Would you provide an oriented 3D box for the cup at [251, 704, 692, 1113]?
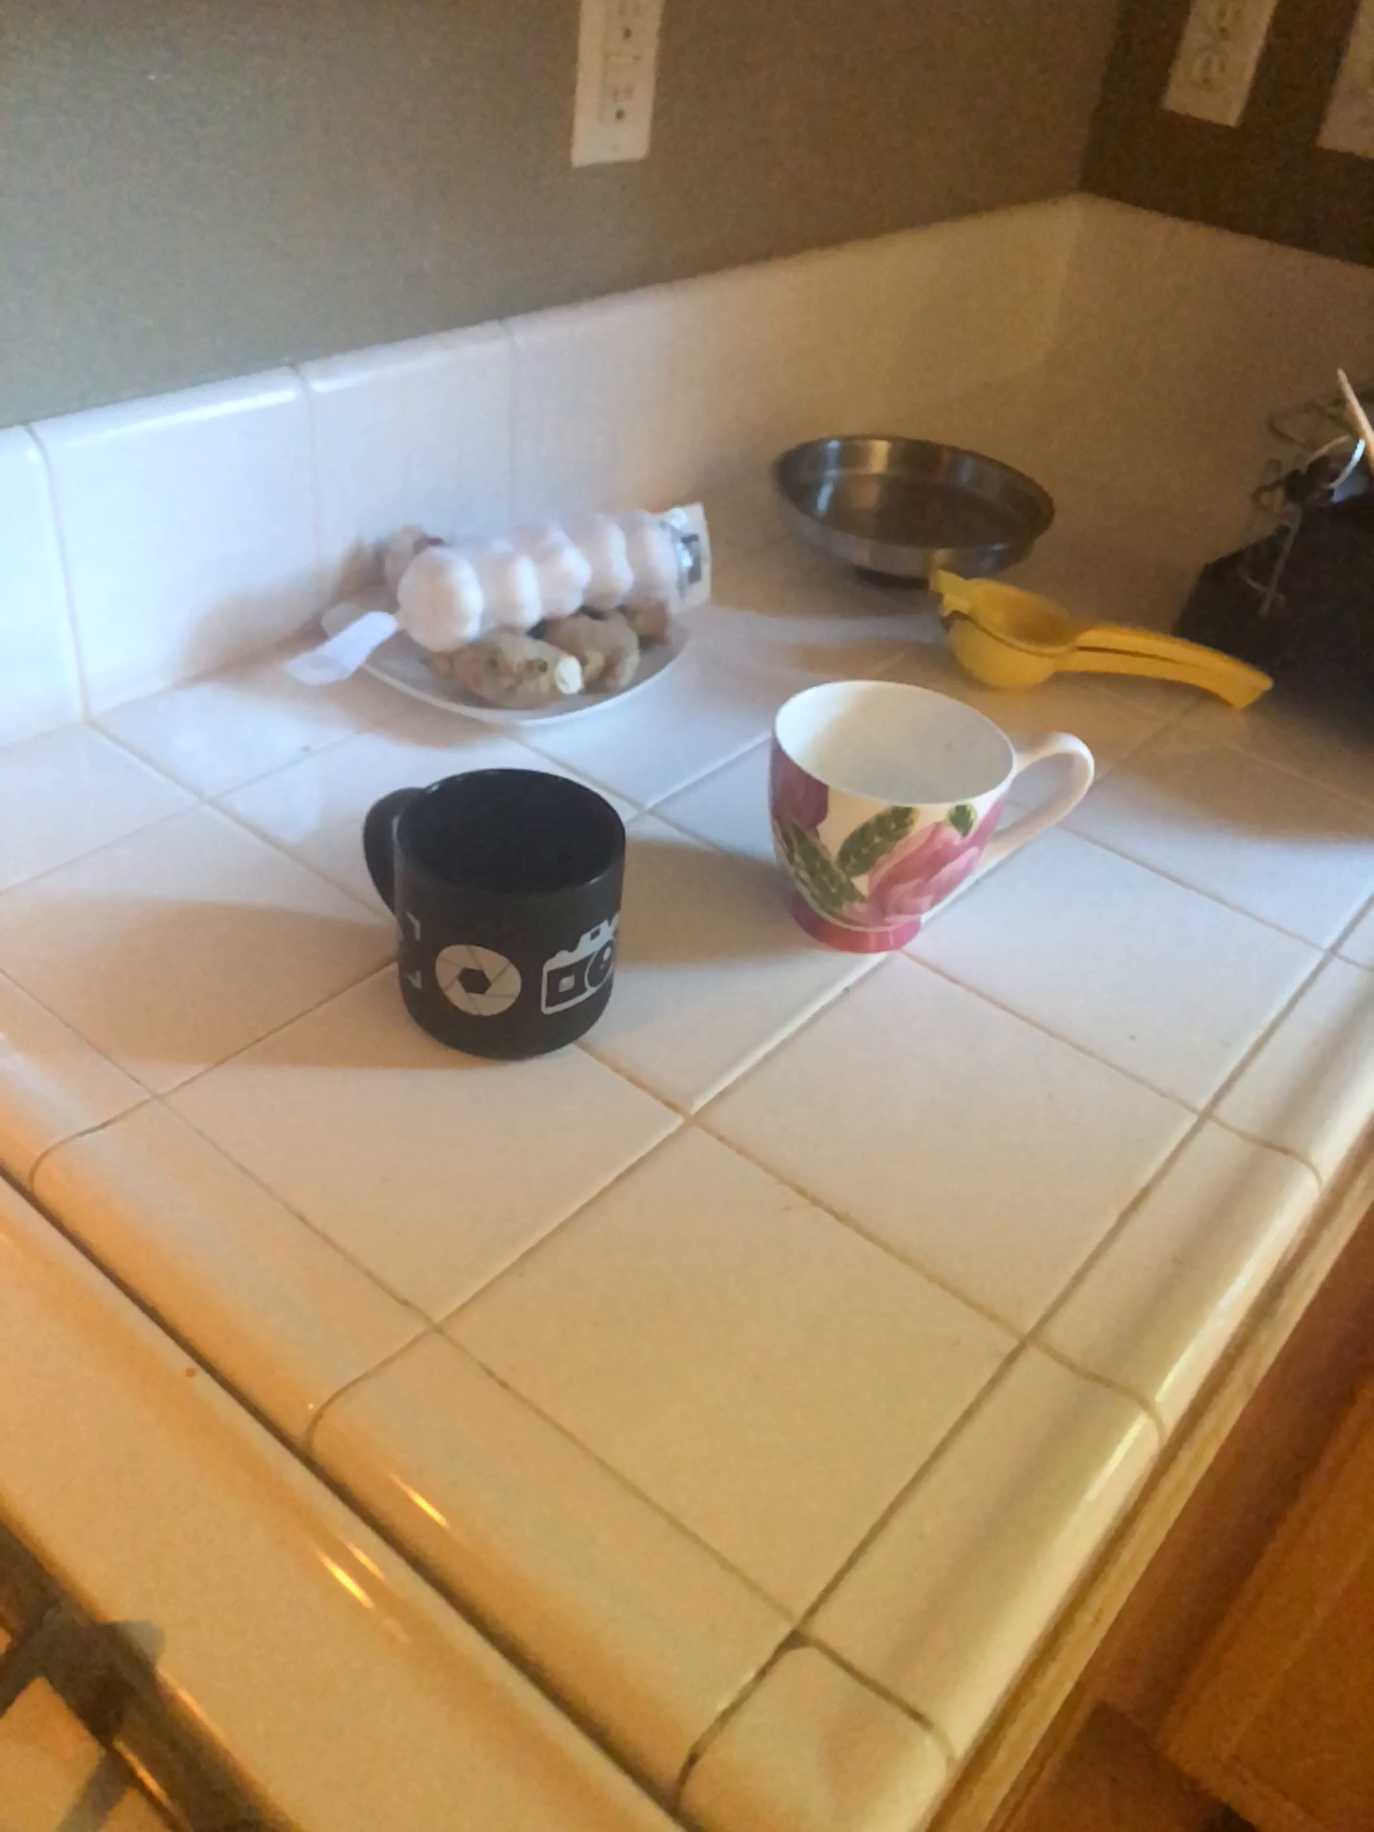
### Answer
[{"bbox_3d":[-0.088,-0.008,0.619,0.140,0.079,0.101,27,41,23],"label":"cup"}]

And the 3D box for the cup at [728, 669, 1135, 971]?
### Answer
[{"bbox_3d":[0.103,-0.044,0.688,0.150,0.089,0.101,2,38,-8],"label":"cup"}]
